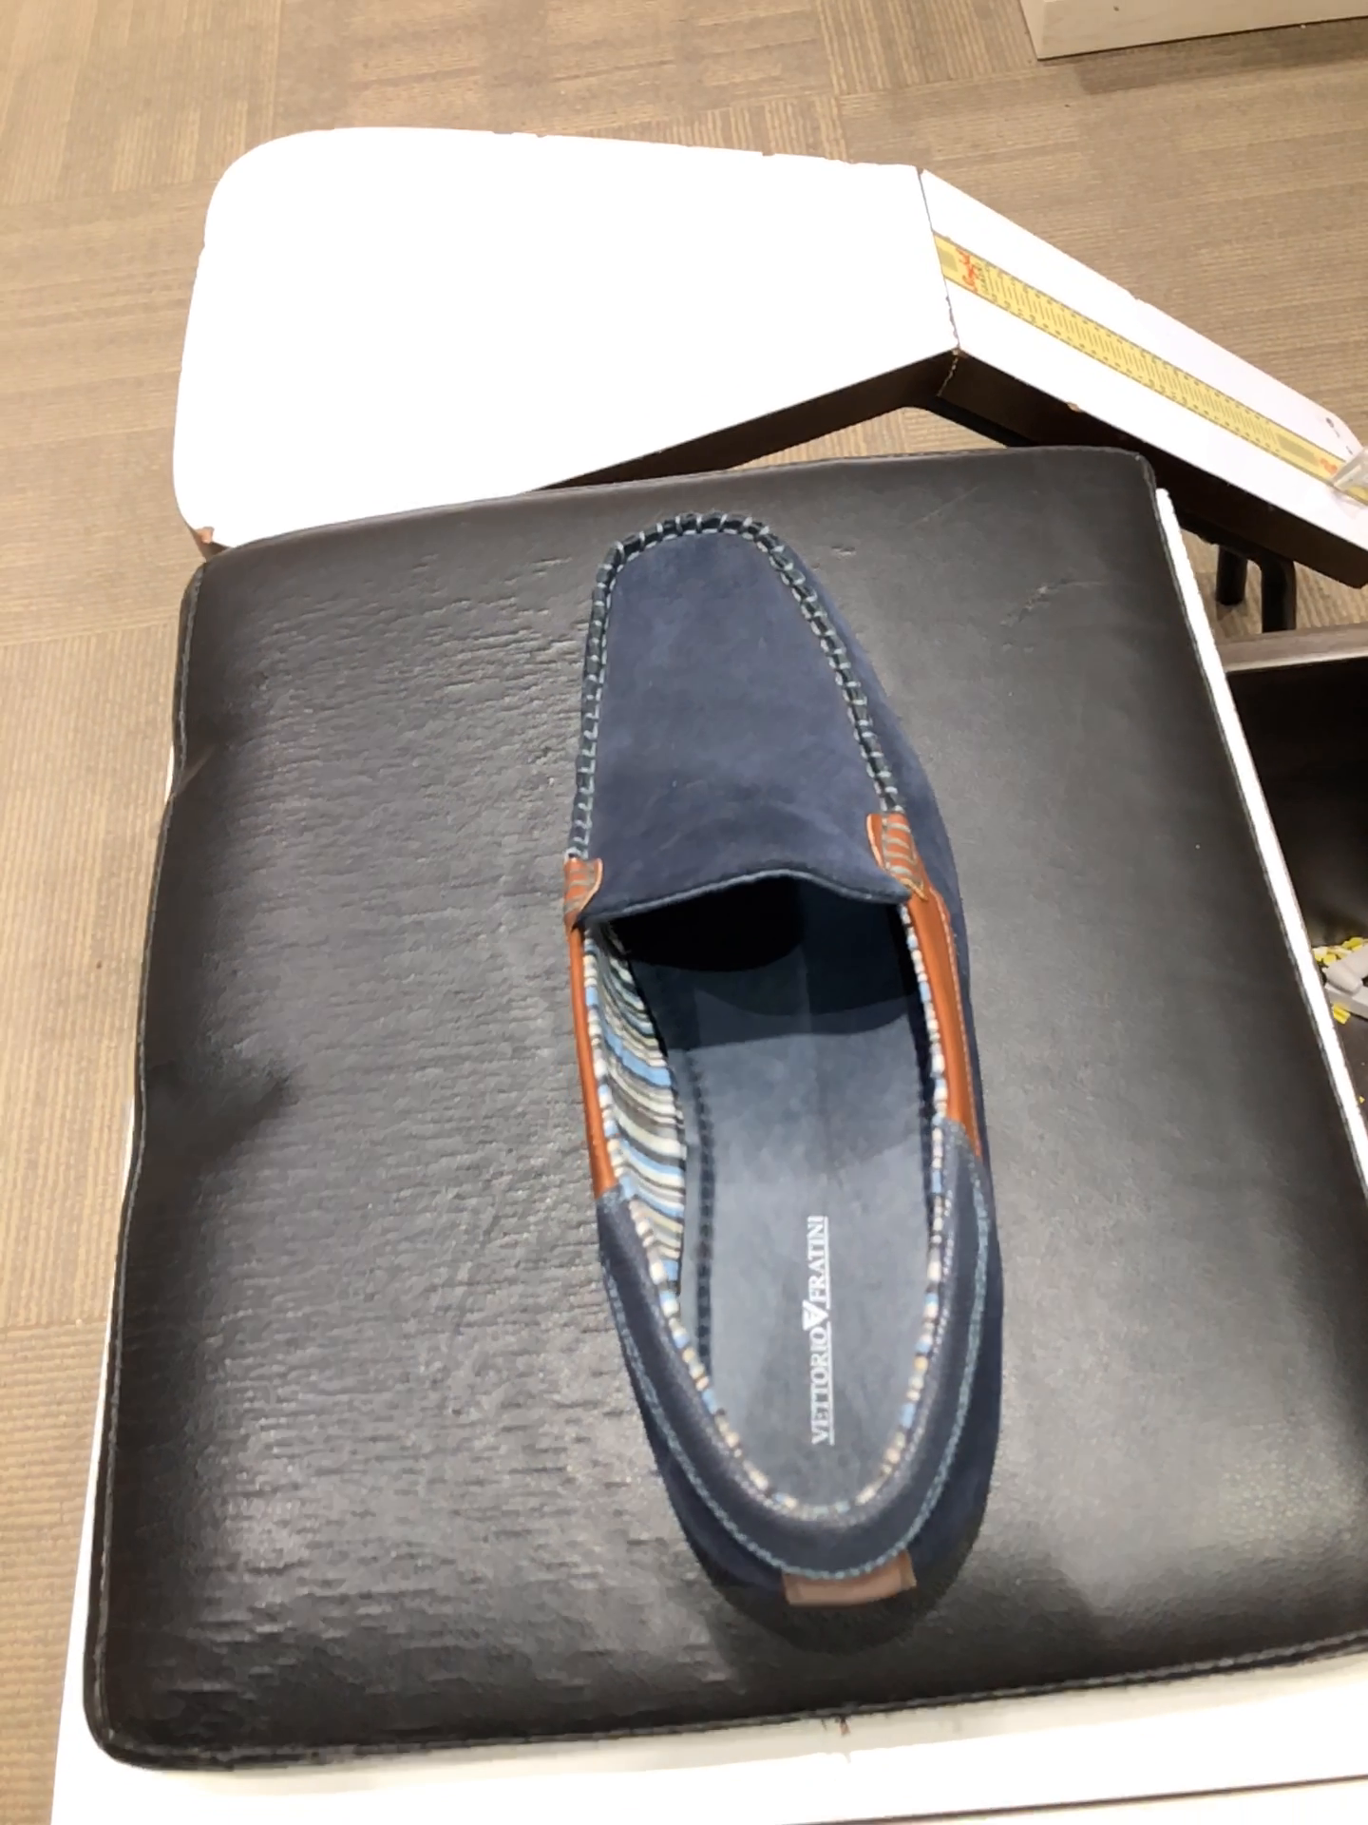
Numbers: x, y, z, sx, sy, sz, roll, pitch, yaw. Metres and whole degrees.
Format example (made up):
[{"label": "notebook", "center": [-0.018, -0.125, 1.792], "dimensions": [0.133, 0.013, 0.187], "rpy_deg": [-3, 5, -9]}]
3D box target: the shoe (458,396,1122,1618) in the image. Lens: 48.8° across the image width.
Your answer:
[{"label": "shoe", "center": [0.014, 0.015, 0.395], "dimensions": [0.110, 0.100, 0.292], "rpy_deg": [-9, 61, 1]}]
